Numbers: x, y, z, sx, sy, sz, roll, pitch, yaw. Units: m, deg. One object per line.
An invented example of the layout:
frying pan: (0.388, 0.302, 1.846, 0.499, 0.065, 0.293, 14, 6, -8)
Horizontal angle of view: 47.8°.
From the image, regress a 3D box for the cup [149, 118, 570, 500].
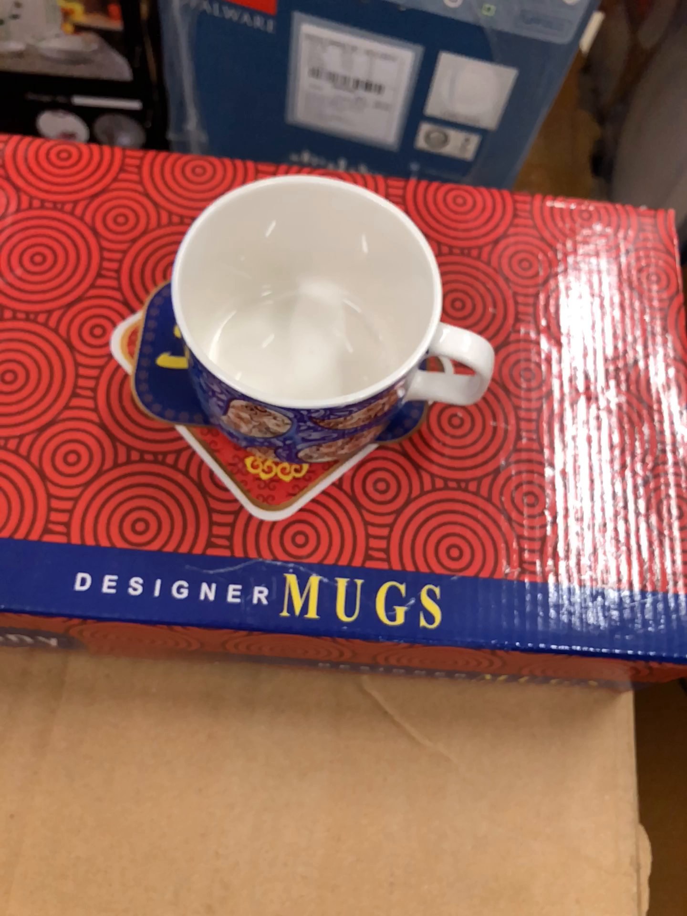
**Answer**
cup: (0.005, -0.040, 0.230, 0.100, 0.060, 0.070, 13, 66, -2)
